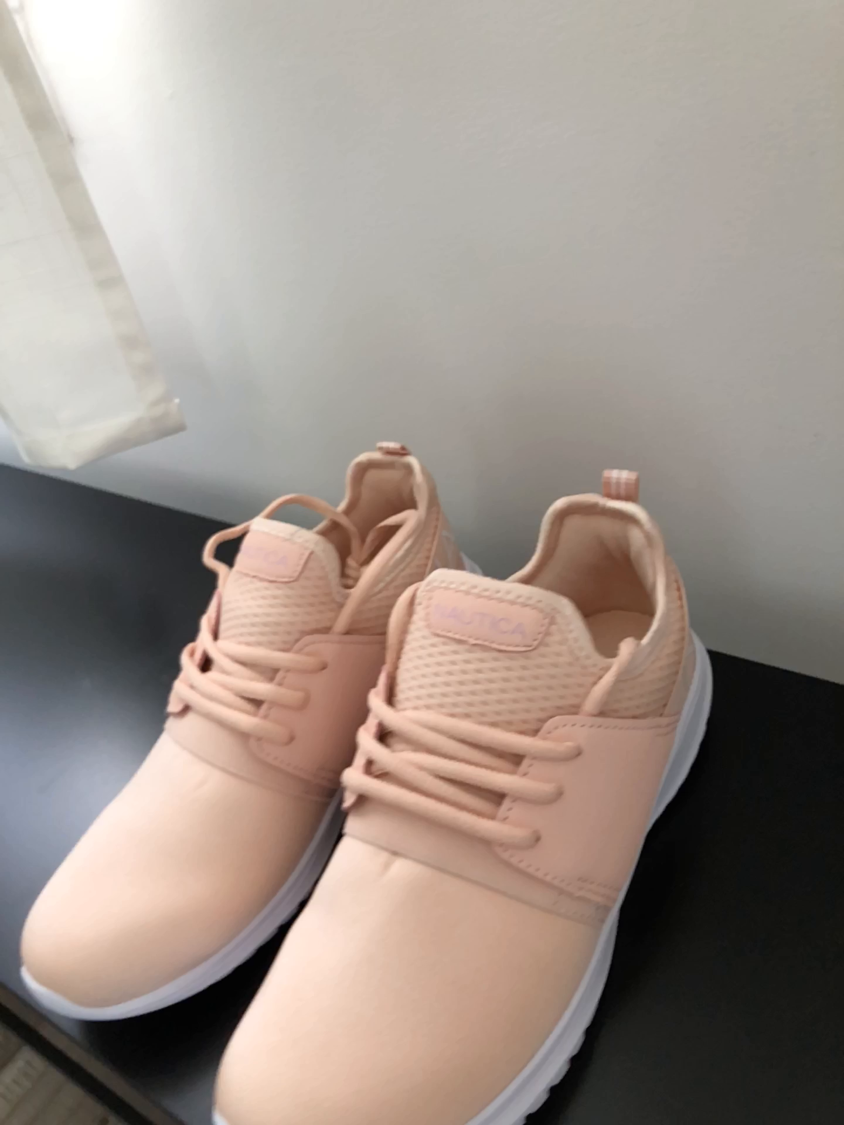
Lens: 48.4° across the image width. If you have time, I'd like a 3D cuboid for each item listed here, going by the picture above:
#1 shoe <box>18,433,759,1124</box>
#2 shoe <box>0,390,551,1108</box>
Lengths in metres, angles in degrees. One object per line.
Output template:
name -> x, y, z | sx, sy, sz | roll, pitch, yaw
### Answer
shoe -> 0.018, 0.074, 0.305 | 0.100, 0.110, 0.240 | 14, 45, 32
shoe -> -0.058, 0.047, 0.369 | 0.100, 0.110, 0.250 | 14, 45, 32
